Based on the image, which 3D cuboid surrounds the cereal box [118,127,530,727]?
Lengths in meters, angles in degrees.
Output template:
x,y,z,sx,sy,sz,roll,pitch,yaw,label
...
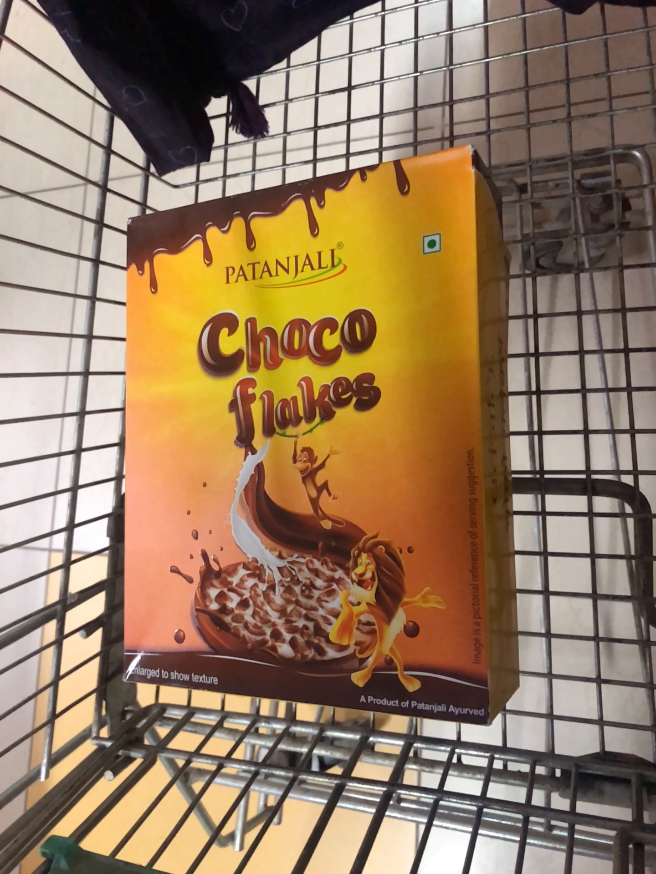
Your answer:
x,y,z,sx,sy,sz,roll,pitch,yaw,label
0.000,0.000,0.362,0.170,0.110,0.230,-3,85,24,cereal box
